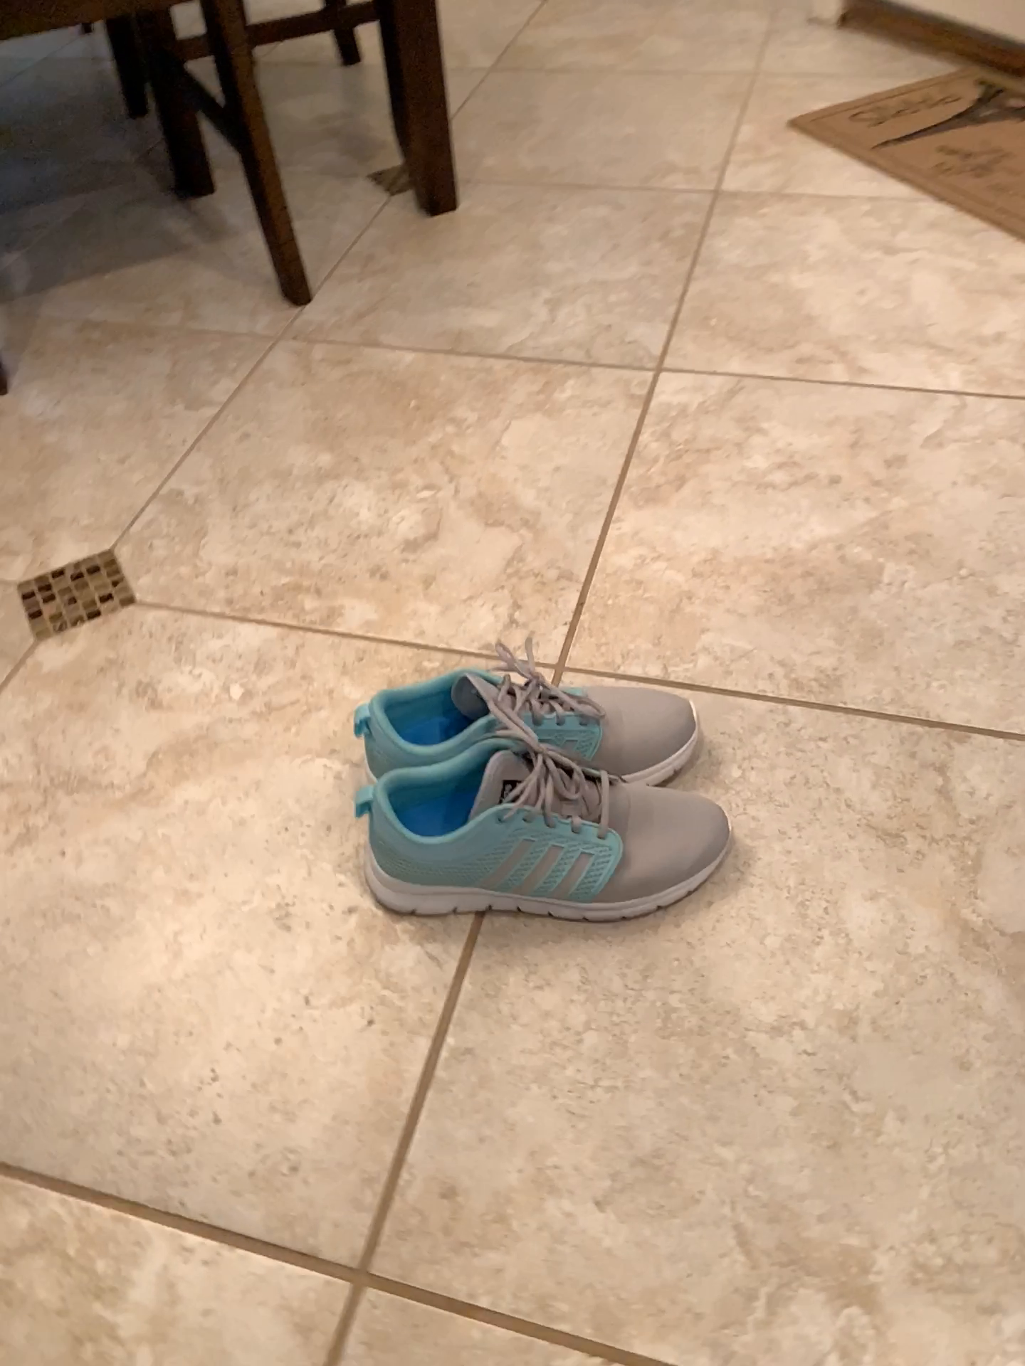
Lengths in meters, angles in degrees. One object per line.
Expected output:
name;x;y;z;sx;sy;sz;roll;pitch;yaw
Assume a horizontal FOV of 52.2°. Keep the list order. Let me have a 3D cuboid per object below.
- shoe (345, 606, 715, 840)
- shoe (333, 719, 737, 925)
shoe;0.011;0.032;0.838;0.271;0.108;0.107;-8;47;-2
shoe;0.019;0.103;0.776;0.271;0.108;0.107;0;47;5
